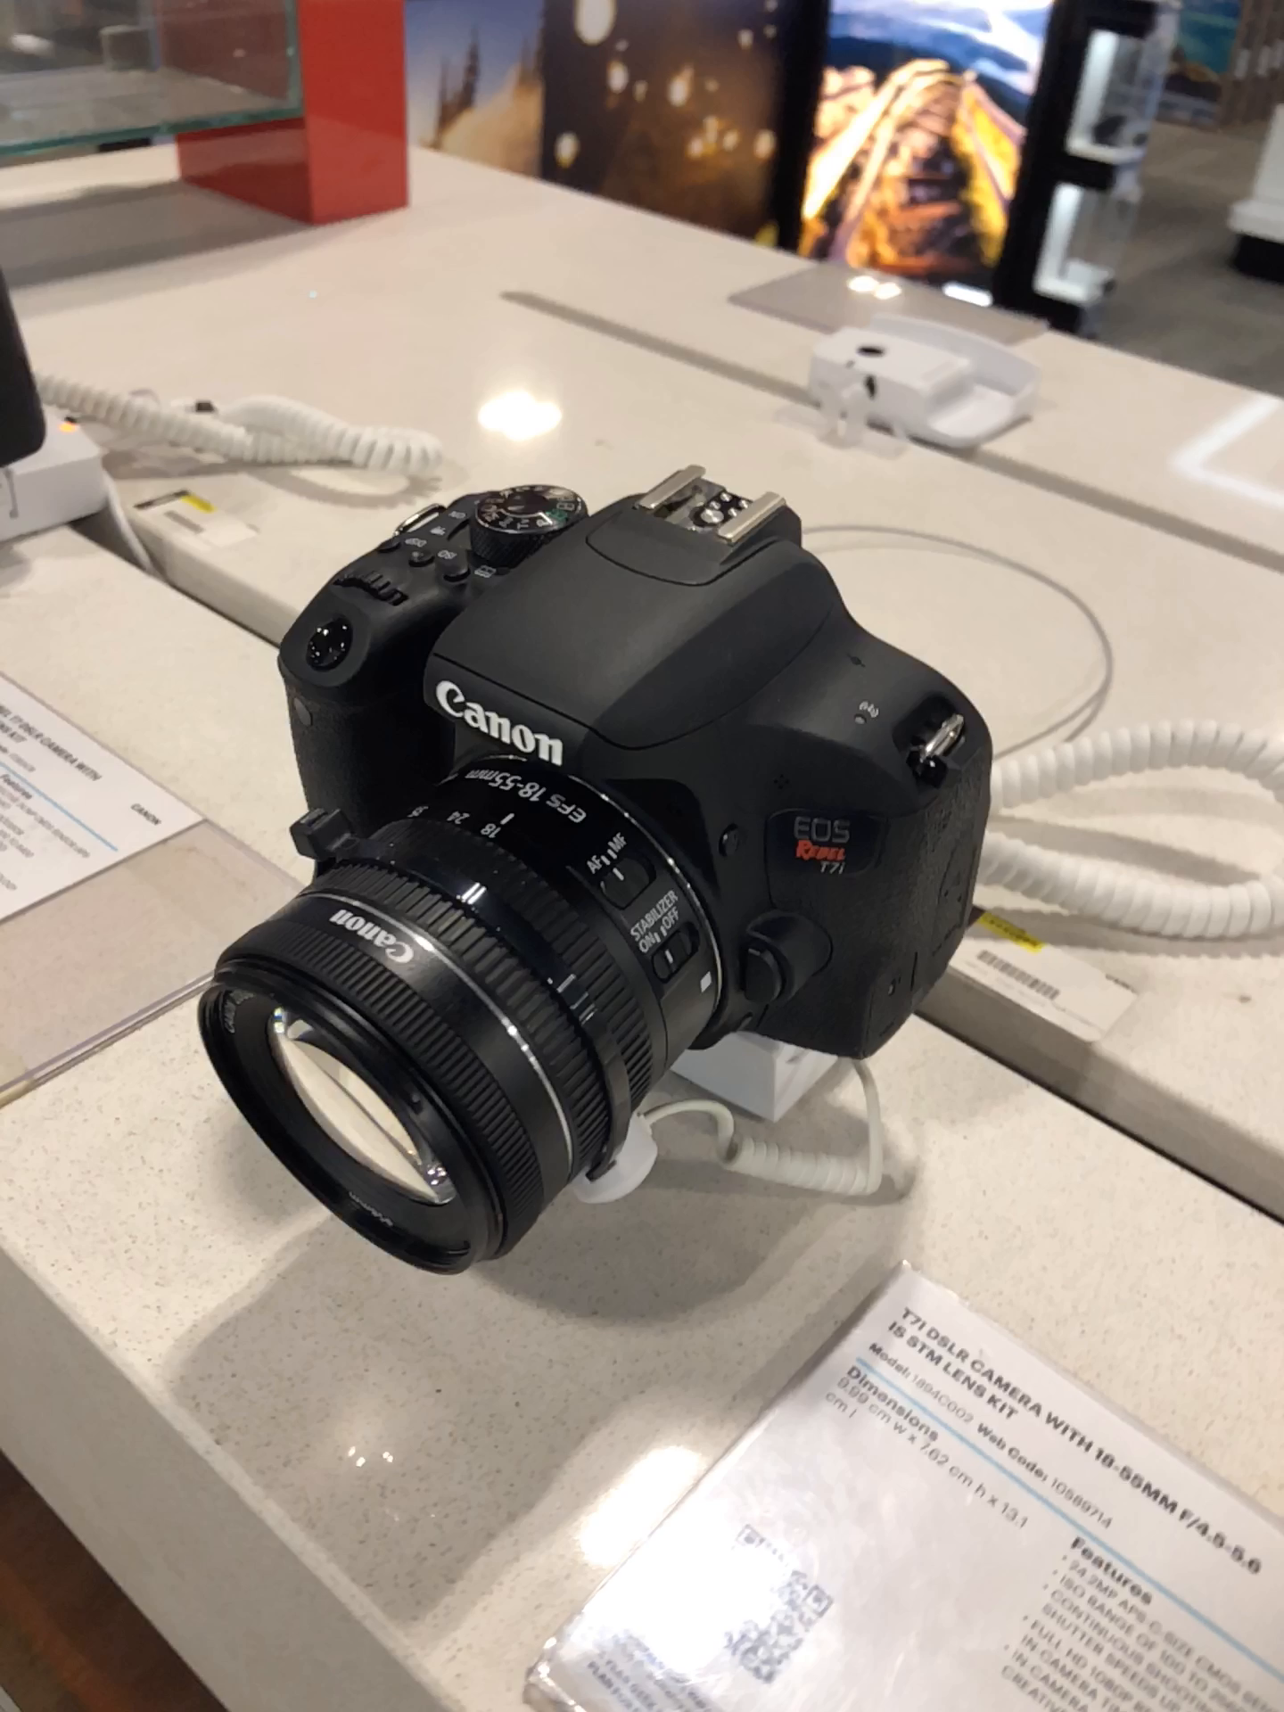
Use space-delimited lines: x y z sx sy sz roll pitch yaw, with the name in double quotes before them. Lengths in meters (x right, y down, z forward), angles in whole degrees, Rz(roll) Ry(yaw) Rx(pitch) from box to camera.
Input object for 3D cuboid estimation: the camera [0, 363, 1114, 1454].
"camera" -0.018 -0.007 0.260 0.140 0.099 0.131 27 43 26
